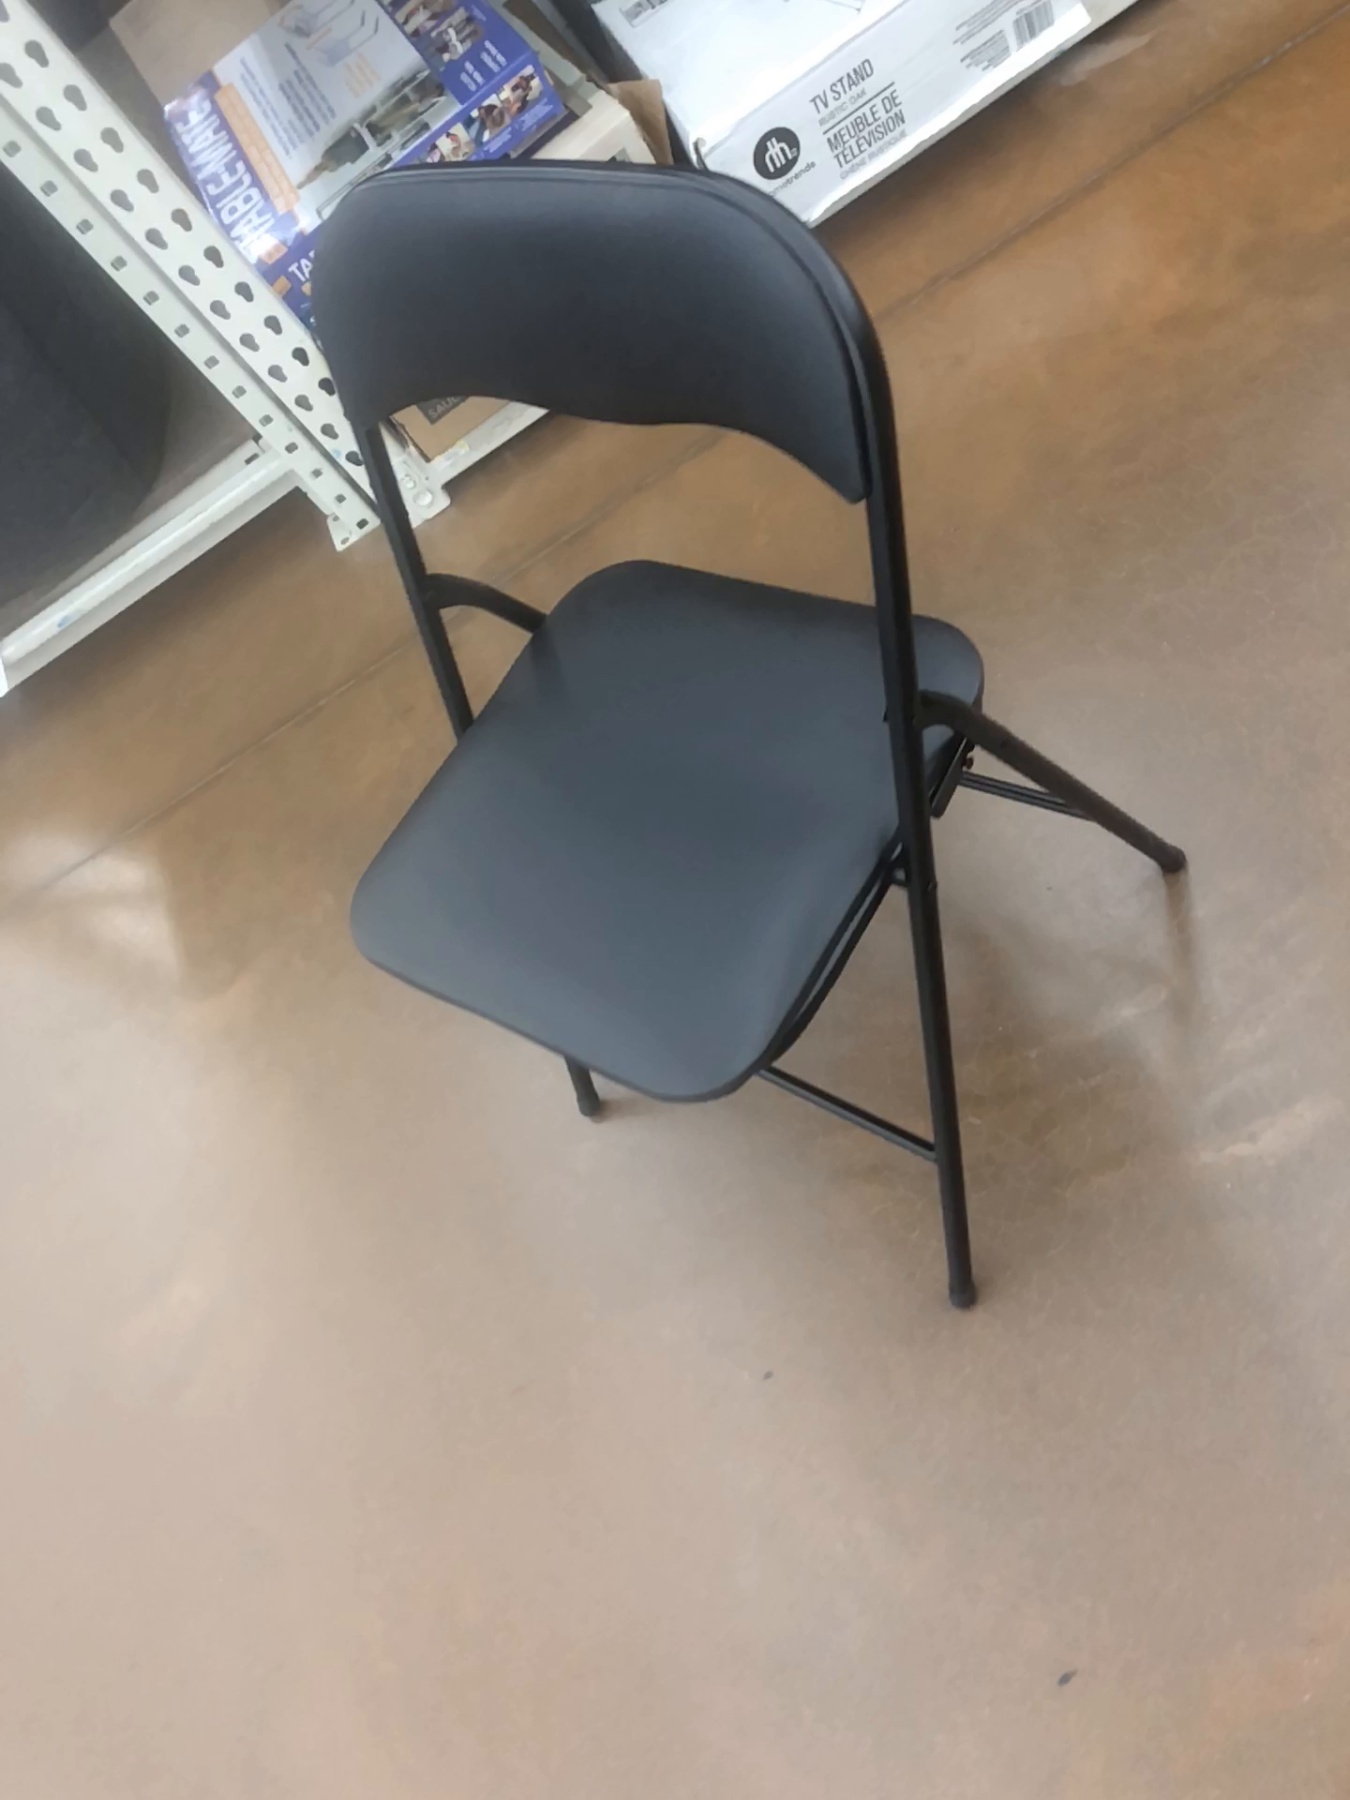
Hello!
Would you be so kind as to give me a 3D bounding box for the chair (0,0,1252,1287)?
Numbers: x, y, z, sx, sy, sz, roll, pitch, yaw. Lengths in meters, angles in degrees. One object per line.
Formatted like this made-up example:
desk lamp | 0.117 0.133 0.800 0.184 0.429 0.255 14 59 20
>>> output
chair | 0.009 -0.149 1.052 0.522 0.758 0.490 18 73 35
